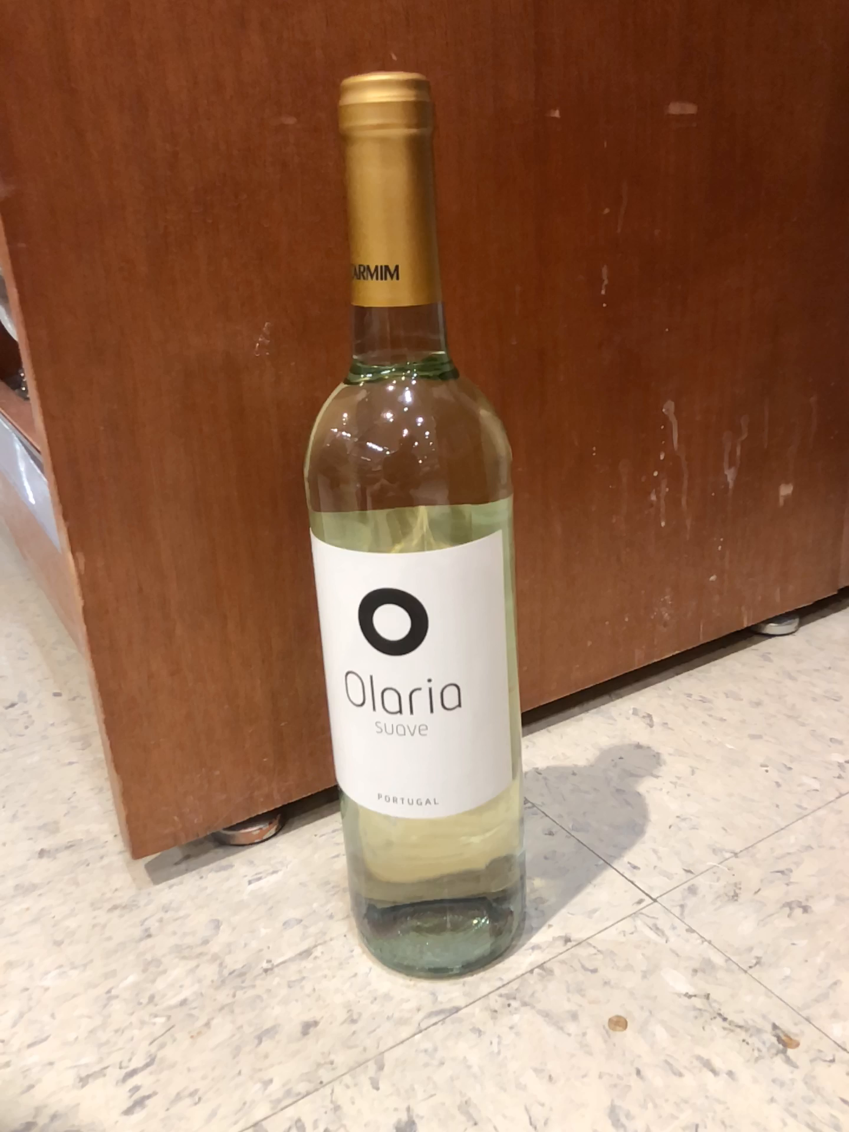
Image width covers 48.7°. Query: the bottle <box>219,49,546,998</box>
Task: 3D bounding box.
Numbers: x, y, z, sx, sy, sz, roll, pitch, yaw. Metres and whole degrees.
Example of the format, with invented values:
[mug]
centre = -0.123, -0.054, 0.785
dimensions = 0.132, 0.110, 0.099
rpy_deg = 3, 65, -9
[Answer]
[bottle]
centre = -0.001, 0.002, 0.337
dimensions = 0.080, 0.318, 0.070
rpy_deg = -1, 21, 9
